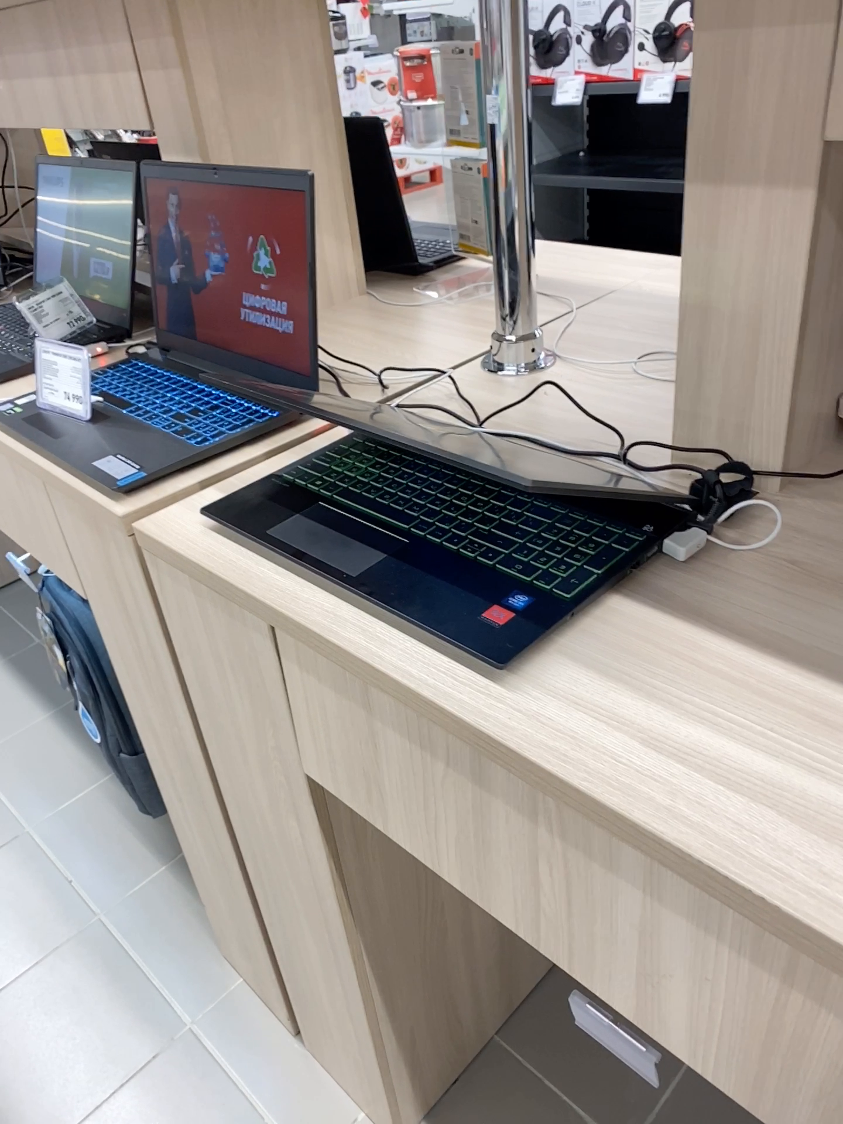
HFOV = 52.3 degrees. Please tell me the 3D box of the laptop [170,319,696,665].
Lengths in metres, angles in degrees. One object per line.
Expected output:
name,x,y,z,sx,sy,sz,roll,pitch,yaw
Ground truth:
laptop,-0.001,-0.090,0.713,0.366,0.108,0.235,24,43,40
